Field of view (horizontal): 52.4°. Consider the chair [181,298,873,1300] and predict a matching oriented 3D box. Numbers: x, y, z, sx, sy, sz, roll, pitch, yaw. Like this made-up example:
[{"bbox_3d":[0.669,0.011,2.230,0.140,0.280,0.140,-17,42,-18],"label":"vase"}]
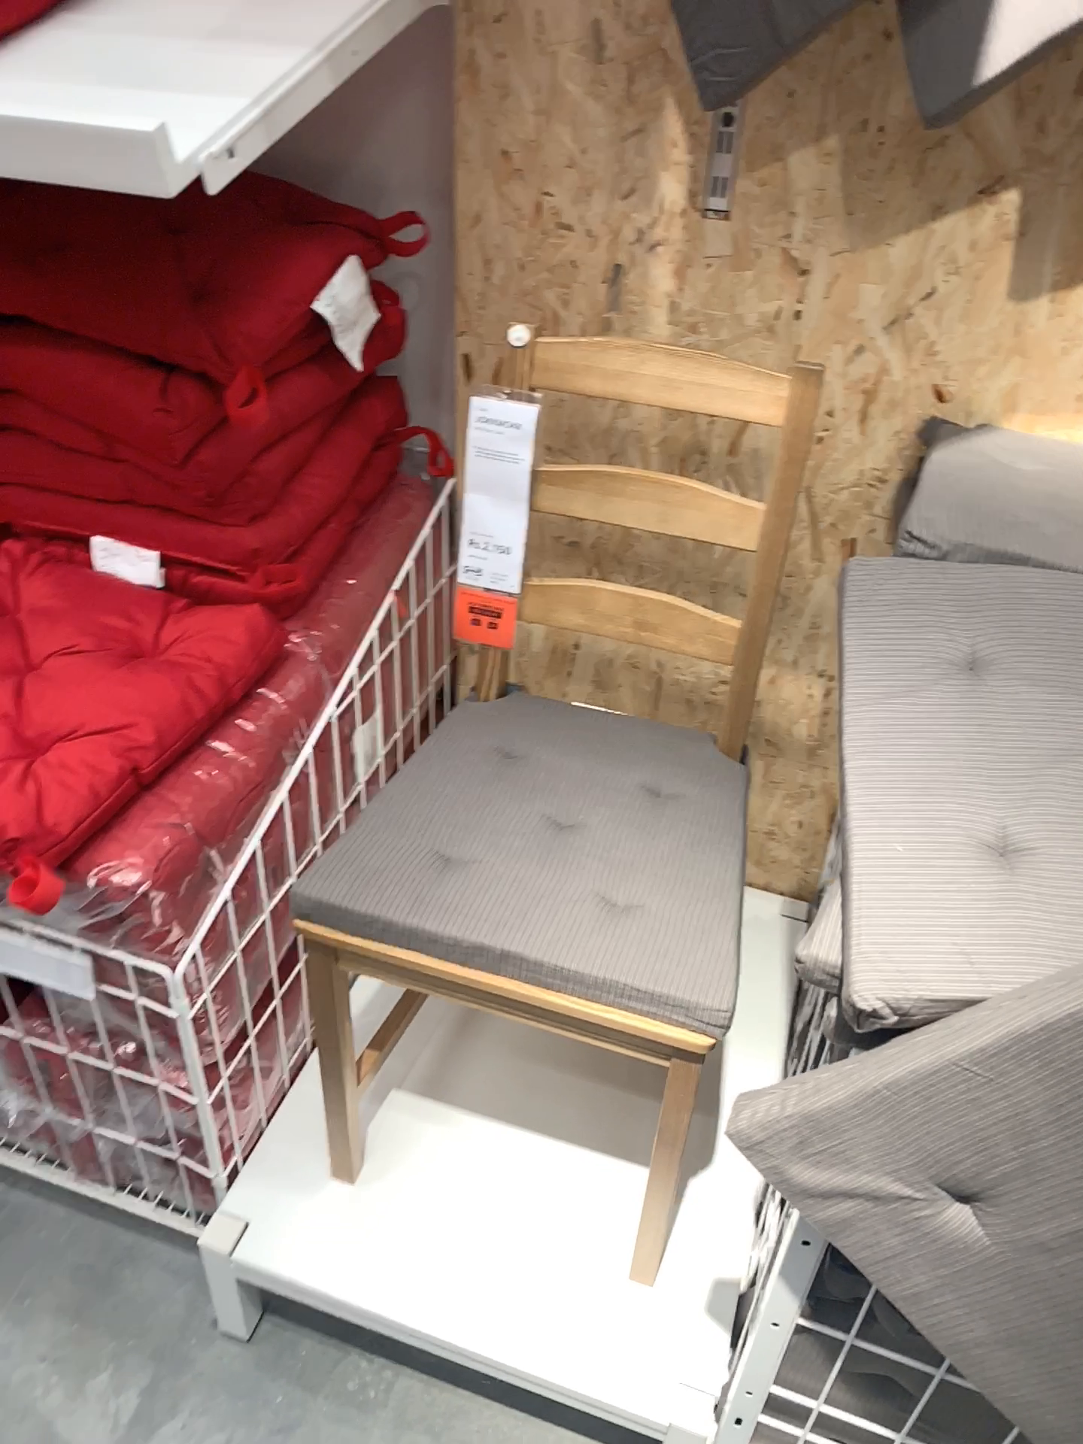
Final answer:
[{"bbox_3d":[0.015,0.089,1.174,0.440,0.866,0.502,13,38,13],"label":"chair"}]
